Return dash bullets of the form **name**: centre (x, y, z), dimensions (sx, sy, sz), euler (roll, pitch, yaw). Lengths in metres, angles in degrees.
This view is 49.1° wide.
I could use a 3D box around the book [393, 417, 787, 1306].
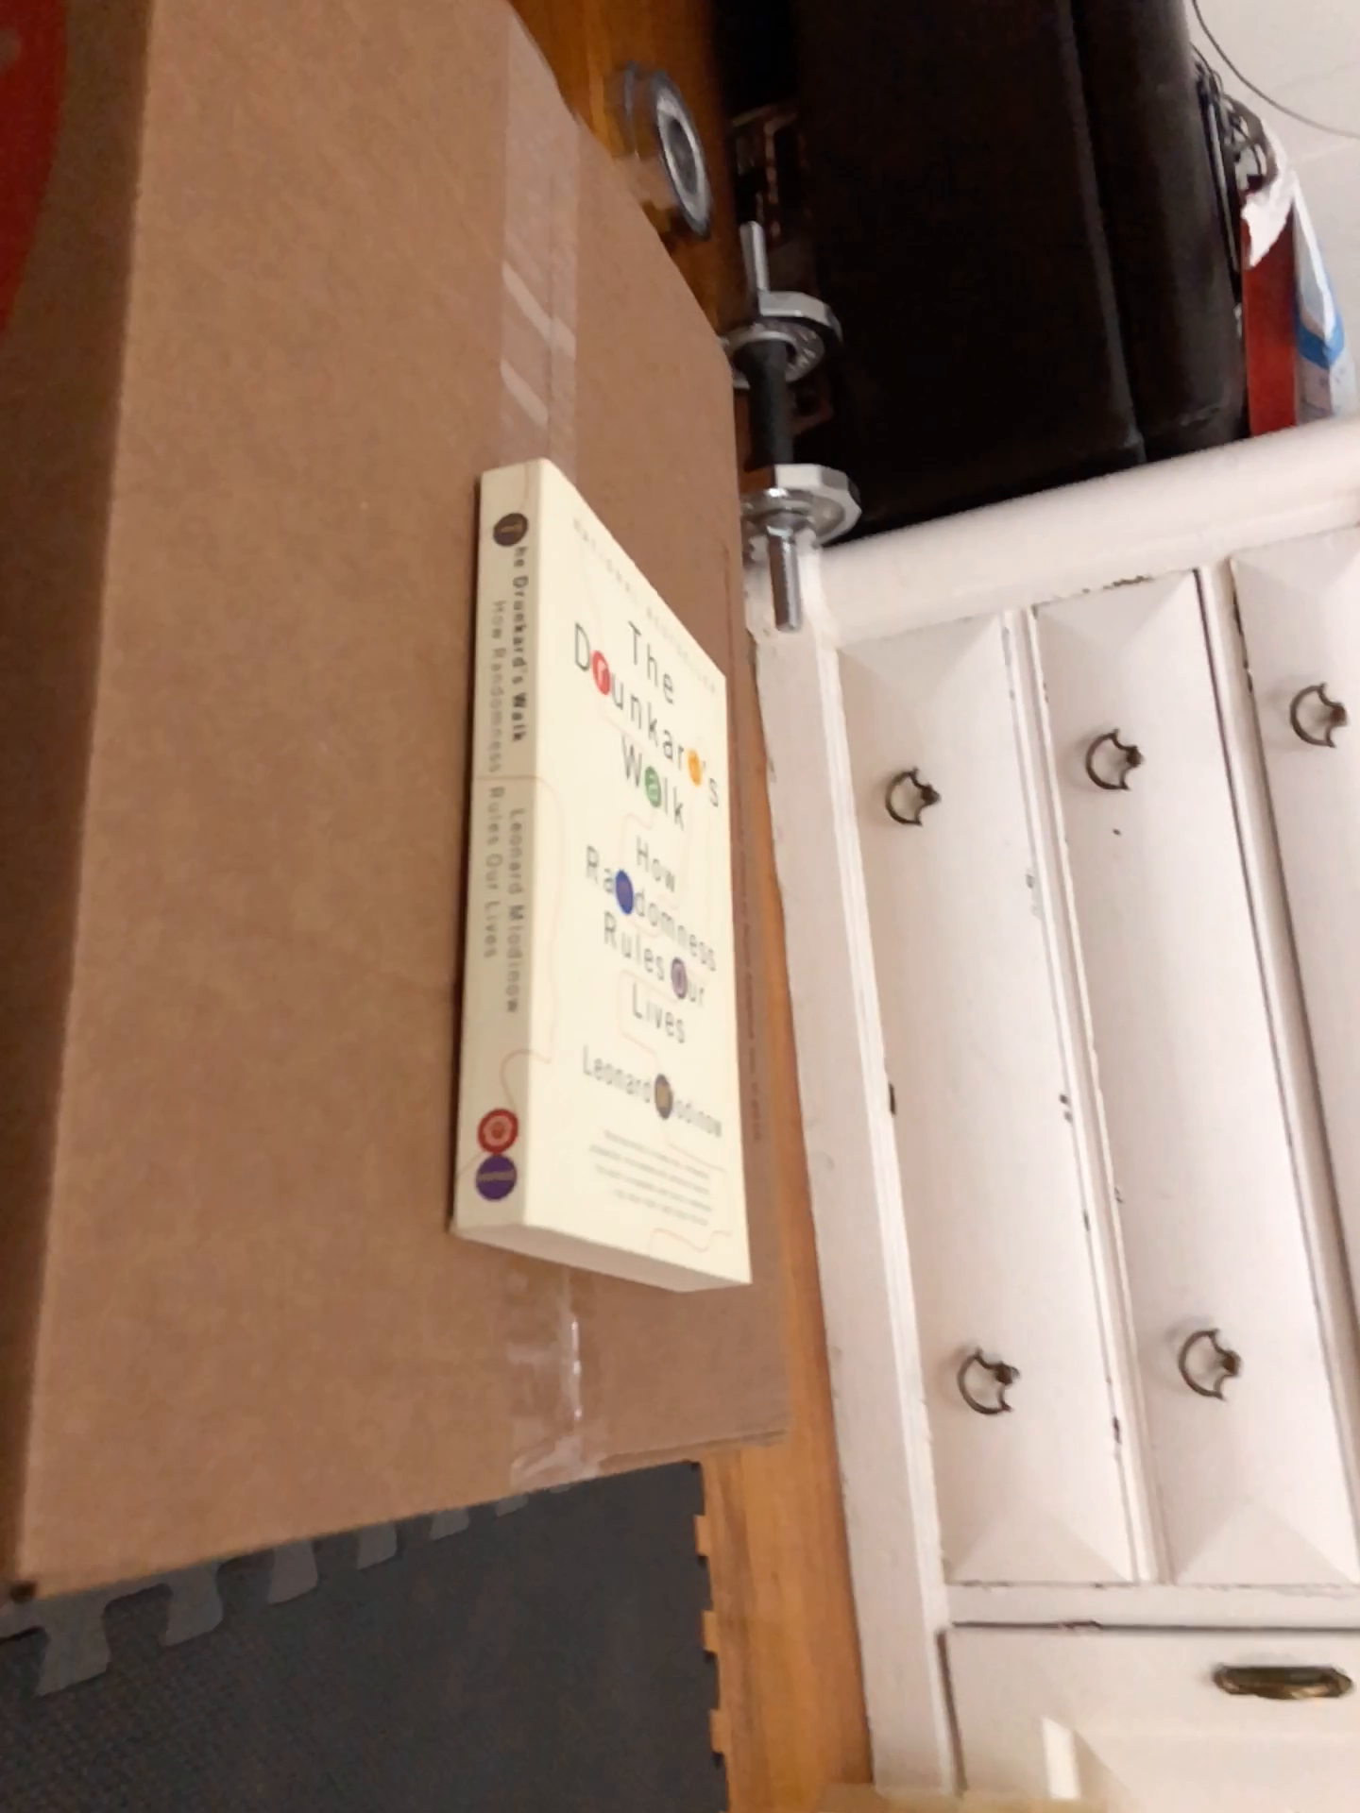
- **book**: centre (-0.019, -0.003, 0.416), dimensions (0.140, 0.040, 0.210), euler (37, 47, -59)
